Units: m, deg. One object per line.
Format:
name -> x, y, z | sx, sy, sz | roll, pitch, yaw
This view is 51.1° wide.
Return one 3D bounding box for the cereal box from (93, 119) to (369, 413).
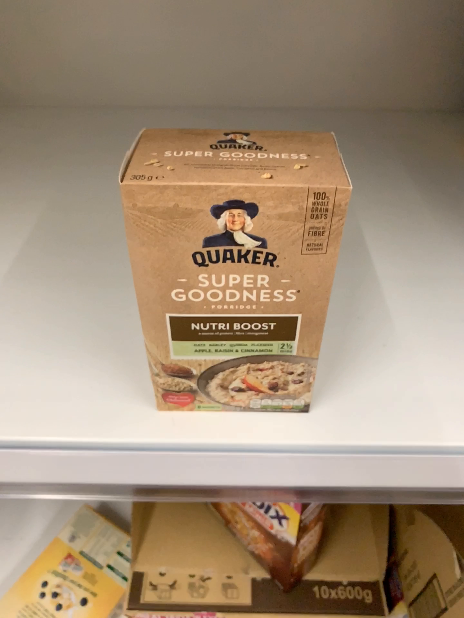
cereal box -> -0.001, -0.018, 0.337 | 0.140, 0.198, 0.071 | 1, 41, 0
